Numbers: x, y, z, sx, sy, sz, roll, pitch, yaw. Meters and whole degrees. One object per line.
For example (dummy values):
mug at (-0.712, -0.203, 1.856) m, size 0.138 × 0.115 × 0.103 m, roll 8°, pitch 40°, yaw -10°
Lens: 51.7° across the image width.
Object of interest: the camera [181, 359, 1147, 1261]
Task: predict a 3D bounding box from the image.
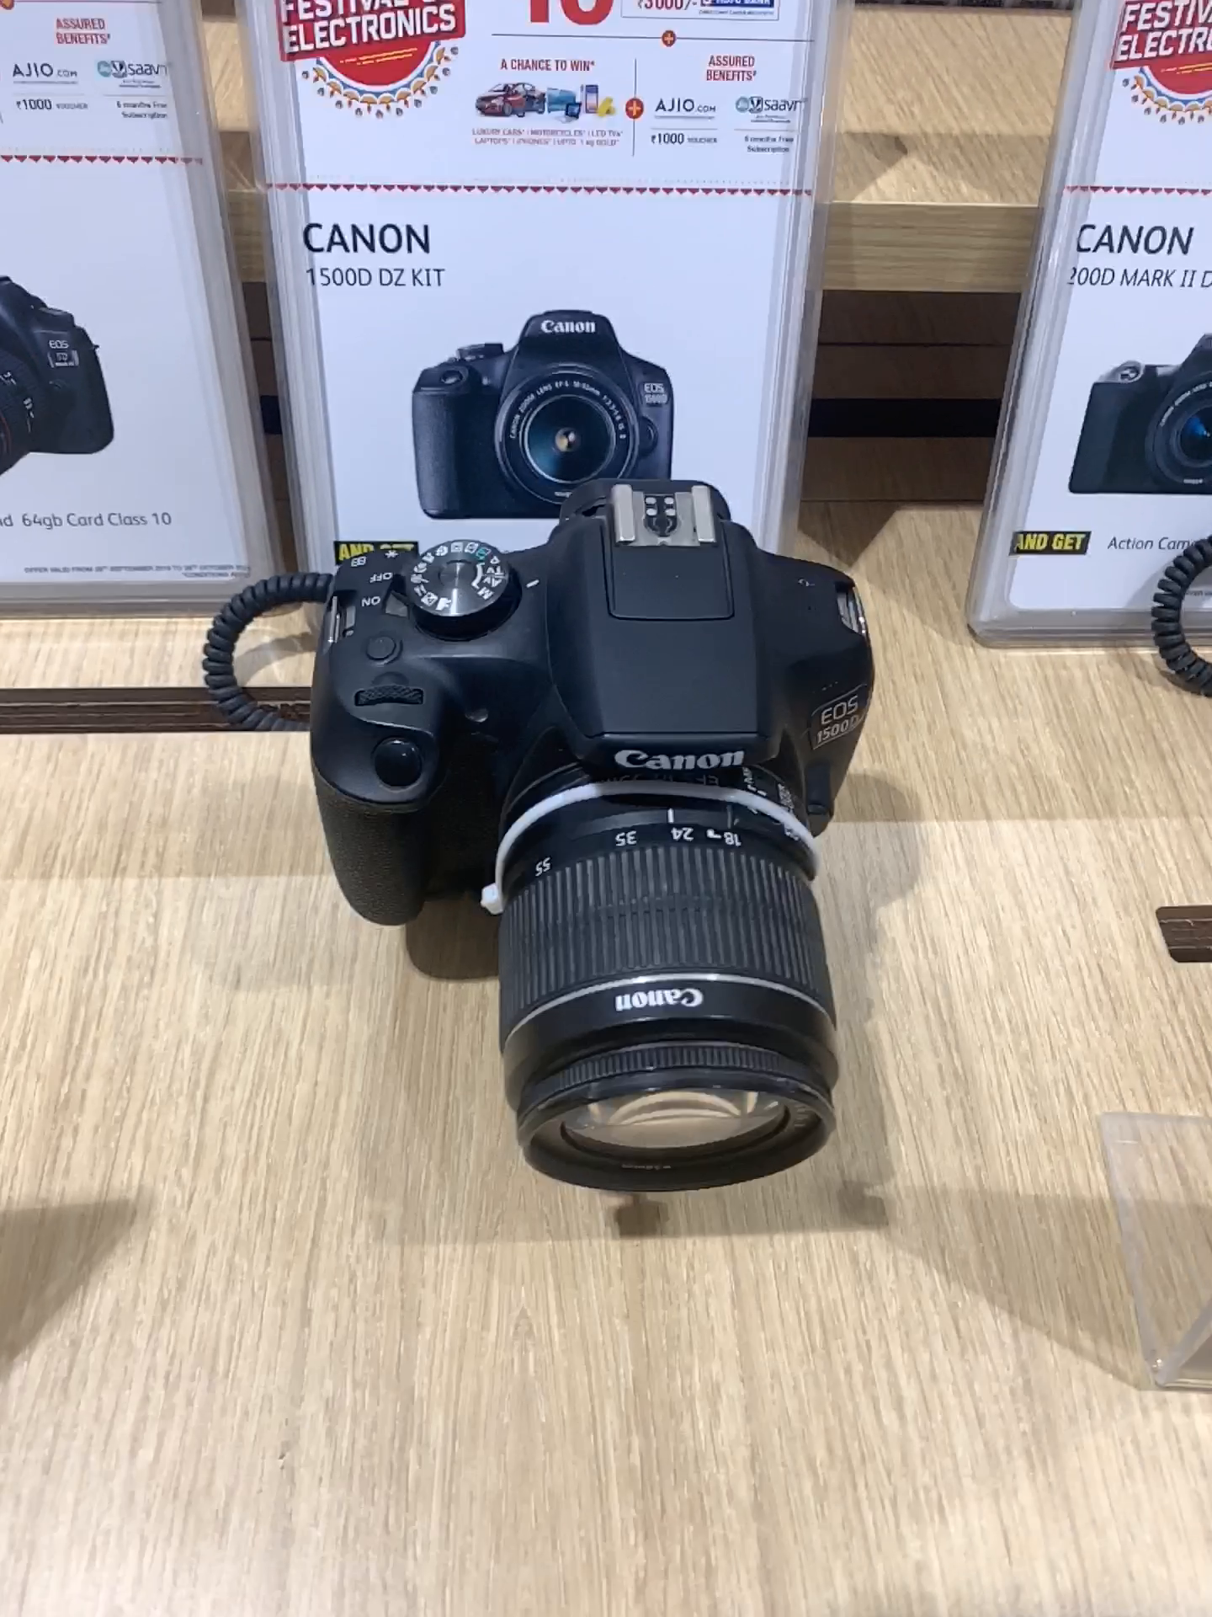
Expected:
camera at (0.002, -0.005, 0.268) m, size 0.140 × 0.100 × 0.160 m, roll -2°, pitch 53°, yaw -4°
